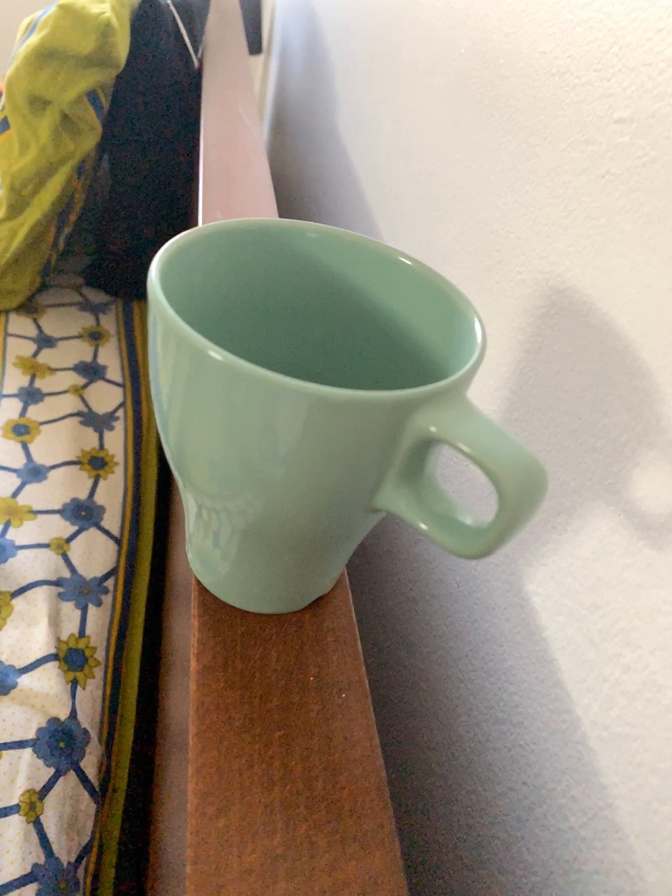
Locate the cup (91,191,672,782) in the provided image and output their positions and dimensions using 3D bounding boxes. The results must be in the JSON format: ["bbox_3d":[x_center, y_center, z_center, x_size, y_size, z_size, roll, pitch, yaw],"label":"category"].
[{"bbox_3d":[0.002,0.002,0.201,0.123,0.091,0.082,39,47,25],"label":"cup"}]
